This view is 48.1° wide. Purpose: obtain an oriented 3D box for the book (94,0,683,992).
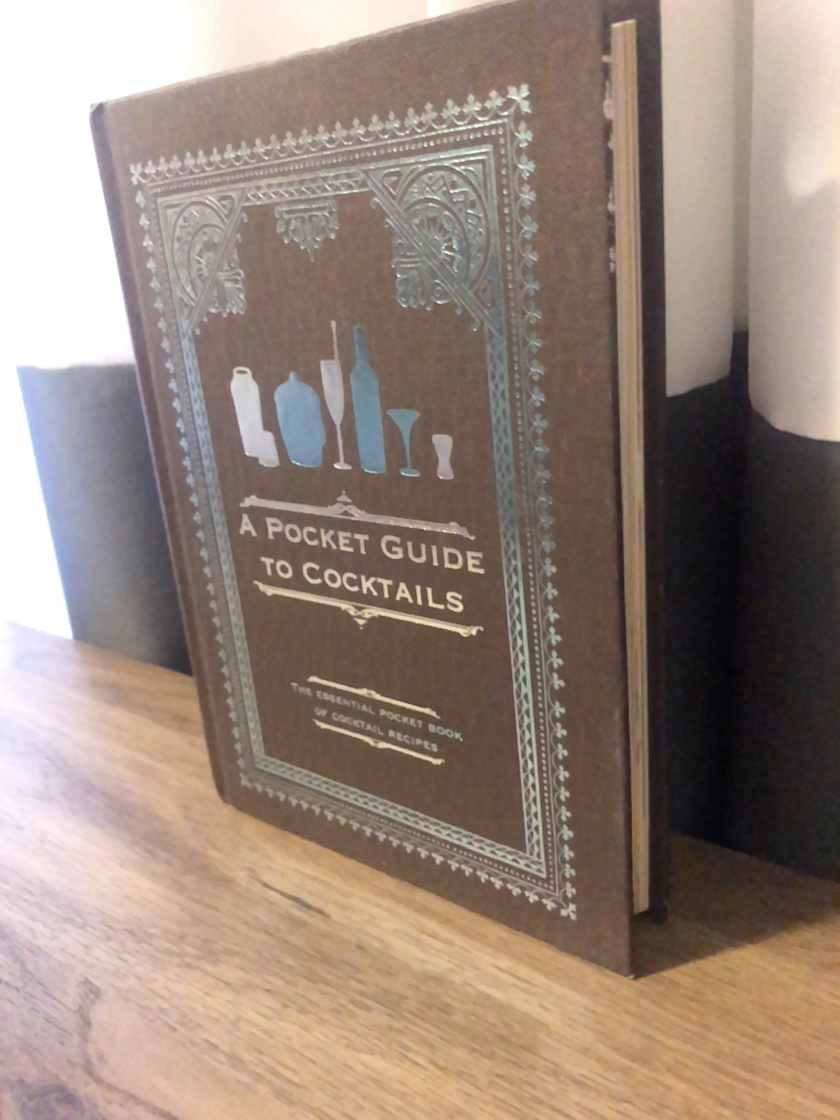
[{"bbox_3d":[-0.008,-0.011,0.226,0.136,0.200,0.022,9,24,37],"label":"book"}]
